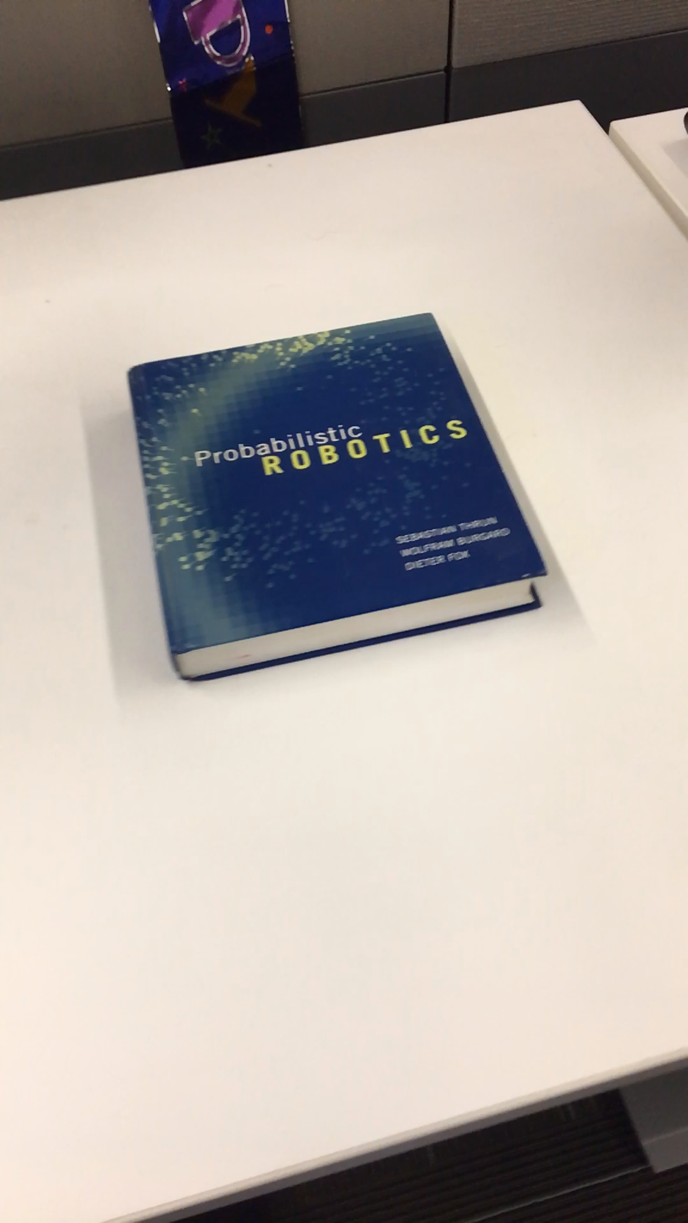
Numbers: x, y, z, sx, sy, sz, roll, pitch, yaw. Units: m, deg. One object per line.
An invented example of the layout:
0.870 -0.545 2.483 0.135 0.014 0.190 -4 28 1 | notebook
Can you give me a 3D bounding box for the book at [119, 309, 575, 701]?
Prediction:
-0.010 -0.078 0.619 0.220 0.030 0.240 -12 55 -7 | book
